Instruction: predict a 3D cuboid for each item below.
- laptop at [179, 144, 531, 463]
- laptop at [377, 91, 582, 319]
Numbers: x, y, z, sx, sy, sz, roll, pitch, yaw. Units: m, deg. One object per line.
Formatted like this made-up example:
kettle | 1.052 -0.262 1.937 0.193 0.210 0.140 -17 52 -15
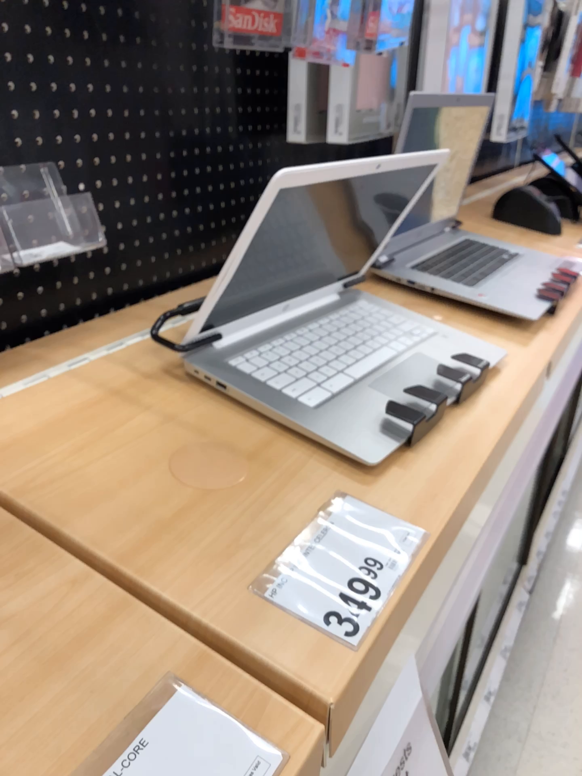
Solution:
laptop | 0.080 -0.115 0.644 0.200 0.173 0.323 24 32 27
laptop | 0.315 -0.294 0.962 0.230 0.231 0.321 20 32 28
